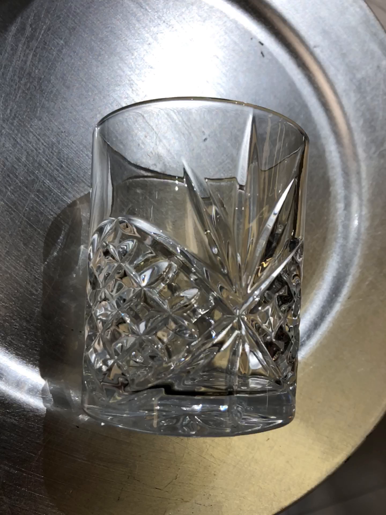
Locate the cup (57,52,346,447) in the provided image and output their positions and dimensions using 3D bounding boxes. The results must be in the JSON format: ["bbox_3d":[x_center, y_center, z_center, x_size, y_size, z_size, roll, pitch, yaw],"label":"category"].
[{"bbox_3d":[0.000,0.001,0.150,0.080,0.060,0.100,5,82,-18],"label":"cup"}]
